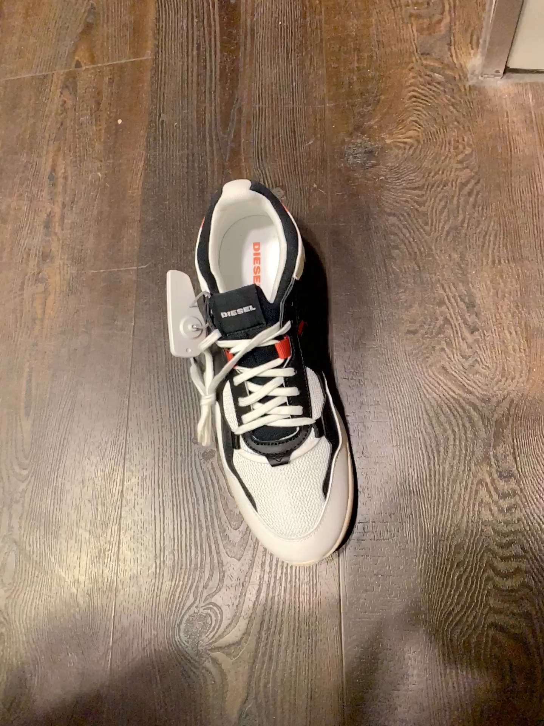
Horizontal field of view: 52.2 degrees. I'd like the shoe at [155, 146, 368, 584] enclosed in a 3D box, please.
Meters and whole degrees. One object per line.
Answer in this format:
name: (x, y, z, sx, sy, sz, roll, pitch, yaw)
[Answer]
shoe: (-0.008, 0.001, 0.439, 0.110, 0.110, 0.301, -11, 73, 8)
